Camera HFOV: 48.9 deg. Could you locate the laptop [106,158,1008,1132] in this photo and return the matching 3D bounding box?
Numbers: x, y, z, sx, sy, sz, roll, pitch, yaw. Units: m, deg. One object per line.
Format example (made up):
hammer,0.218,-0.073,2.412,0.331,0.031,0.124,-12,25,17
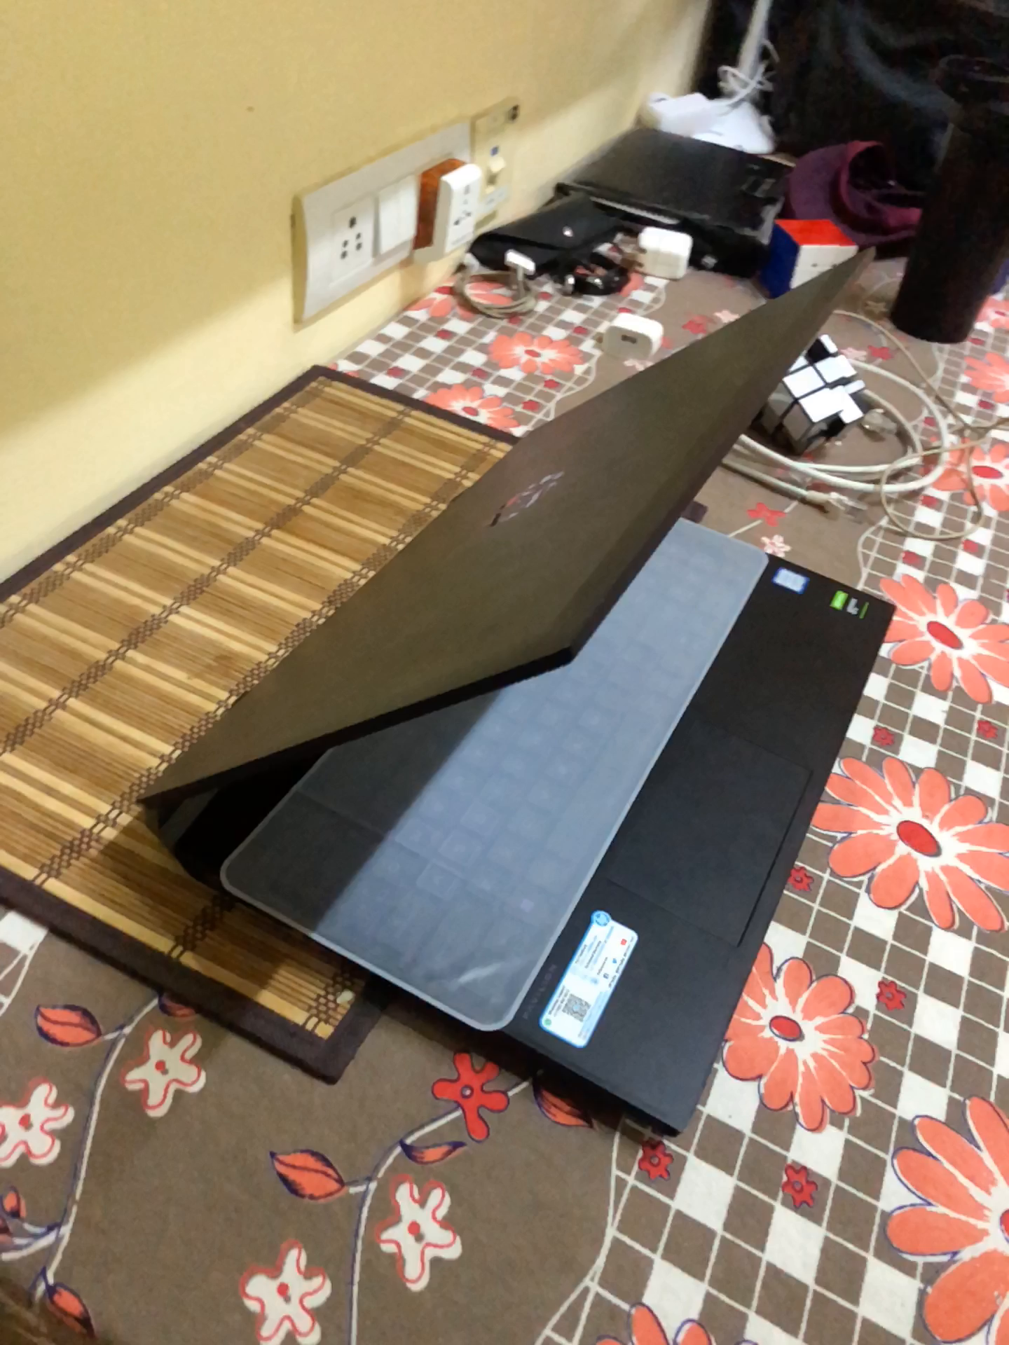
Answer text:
laptop,0.055,-0.050,0.492,0.236,0.164,0.358,27,47,13
